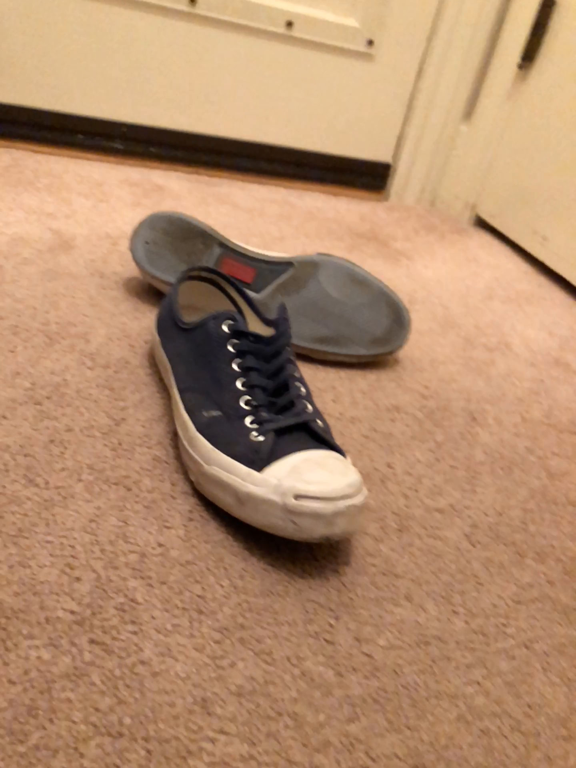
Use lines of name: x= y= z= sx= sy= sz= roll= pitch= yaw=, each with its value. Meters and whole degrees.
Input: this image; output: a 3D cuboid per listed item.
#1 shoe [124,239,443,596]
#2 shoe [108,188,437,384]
shoe: x=-0.029 y=-0.002 z=0.475 sx=0.116 sy=0.098 sz=0.287 roll=-3 pitch=35 yaw=-27
shoe: x=-0.014 y=-0.096 z=0.656 sx=0.296 sy=0.104 sz=0.099 roll=17 pitch=3 yaw=3
